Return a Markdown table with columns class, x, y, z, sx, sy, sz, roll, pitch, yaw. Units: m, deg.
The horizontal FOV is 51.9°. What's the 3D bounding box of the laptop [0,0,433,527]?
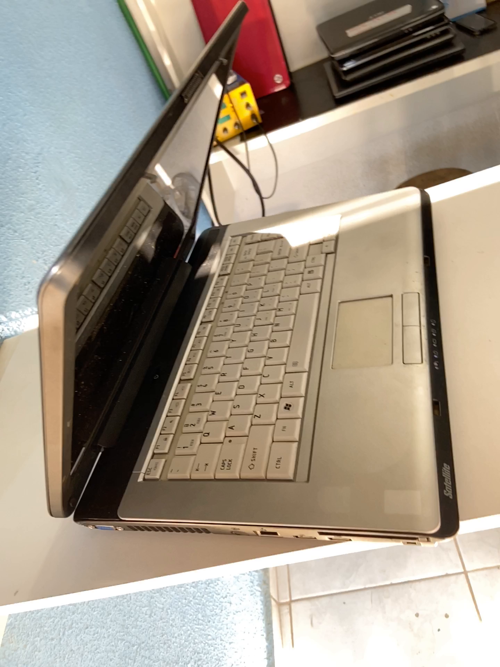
| class | x | y | z | sx | sy | sz | roll | pitch | yaw |
| --- | --- | --- | --- | --- | --- | --- | --- | --- | --- |
| laptop | -0.013 | -0.077 | 0.382 | 0.246 | 0.202 | 0.353 | -7 | 43 | 23 |
